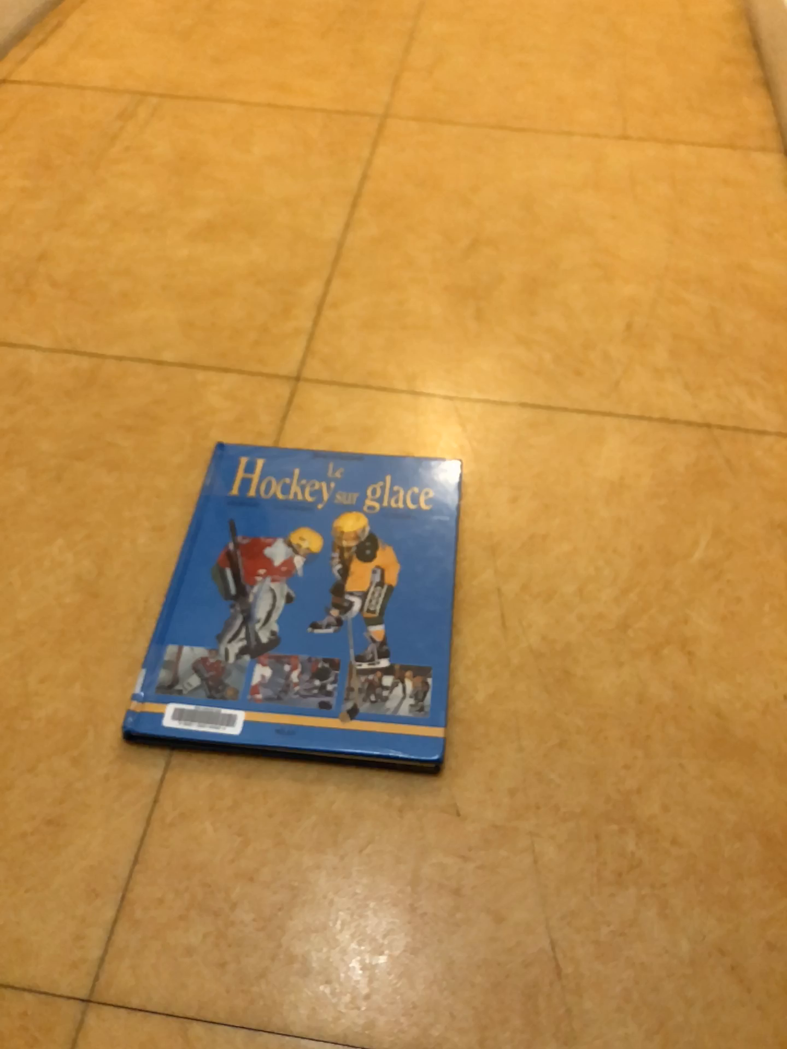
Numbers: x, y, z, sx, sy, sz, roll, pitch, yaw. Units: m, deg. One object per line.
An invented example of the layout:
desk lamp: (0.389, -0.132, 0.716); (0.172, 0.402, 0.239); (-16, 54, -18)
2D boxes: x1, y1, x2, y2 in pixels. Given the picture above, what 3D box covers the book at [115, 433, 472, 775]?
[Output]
book: (-0.055, 0.041, 0.622); (0.210, 0.020, 0.261); (5, 50, 2)
